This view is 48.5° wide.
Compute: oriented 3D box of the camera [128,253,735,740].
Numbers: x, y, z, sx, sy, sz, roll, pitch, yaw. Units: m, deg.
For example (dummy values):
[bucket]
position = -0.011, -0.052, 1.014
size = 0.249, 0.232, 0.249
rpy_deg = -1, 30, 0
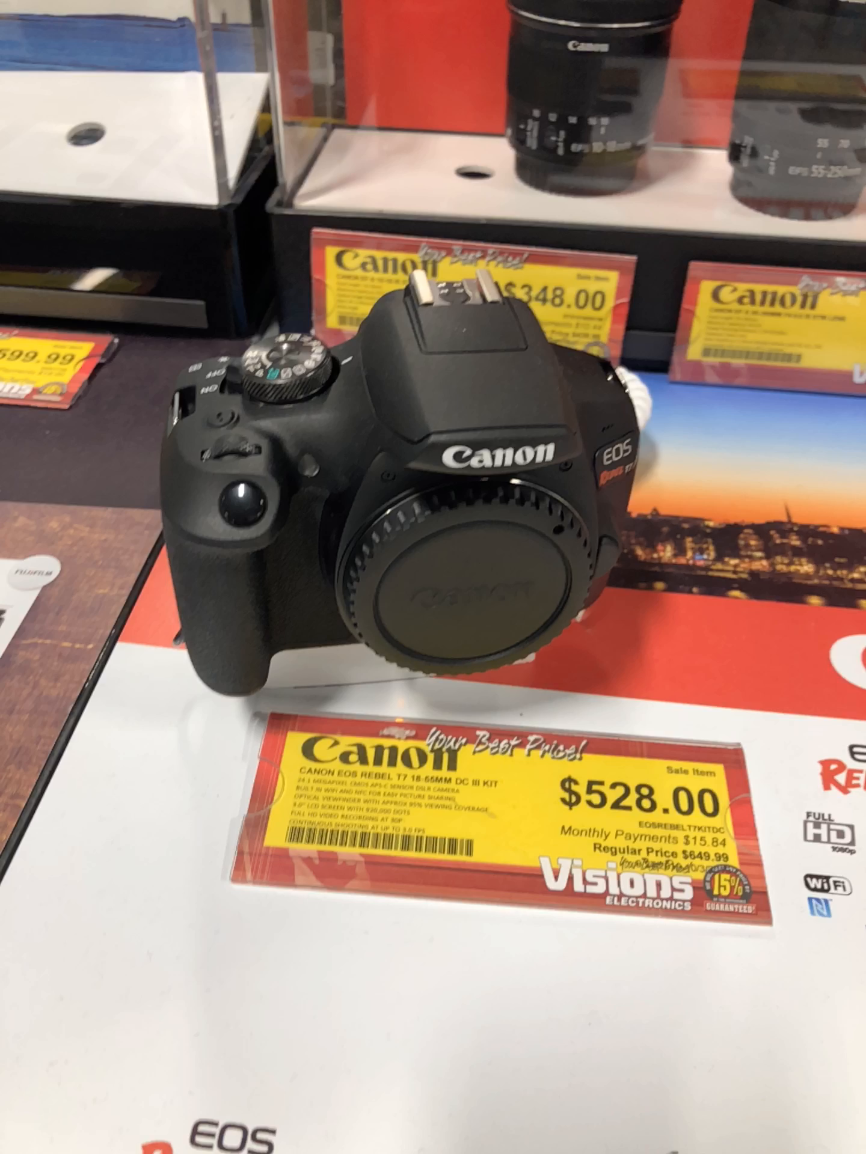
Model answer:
[camera]
position = -0.006, -0.024, 0.262
size = 0.130, 0.089, 0.081
rpy_deg = -7, 43, -9
